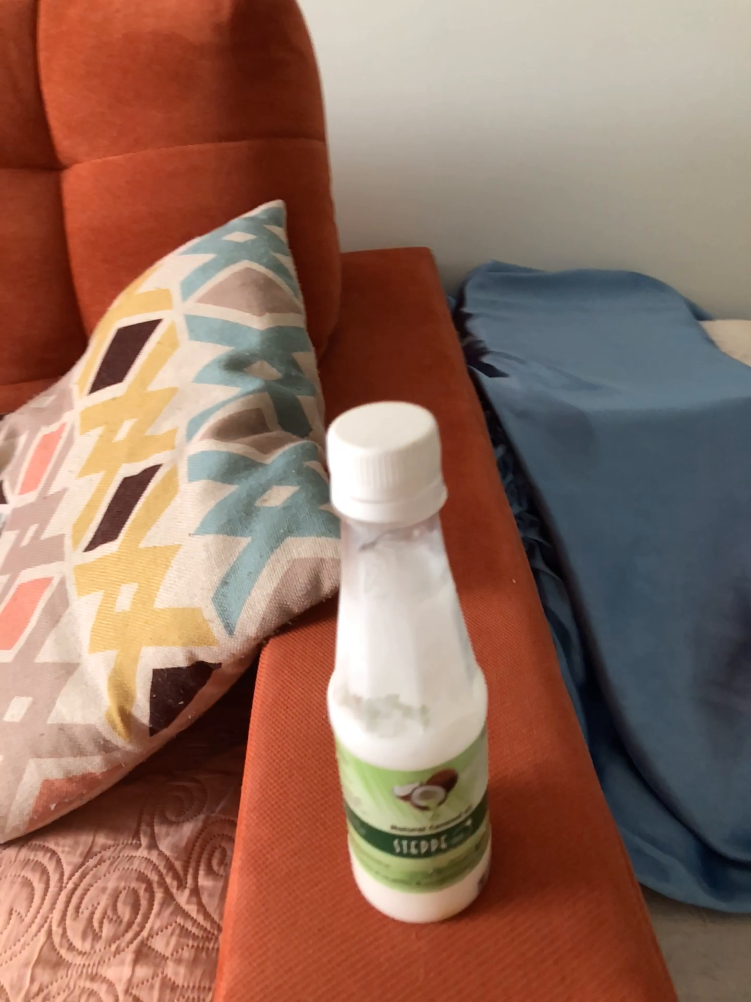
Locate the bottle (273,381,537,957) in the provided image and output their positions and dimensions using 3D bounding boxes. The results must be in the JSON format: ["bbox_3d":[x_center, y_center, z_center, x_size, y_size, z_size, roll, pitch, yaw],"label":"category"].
[{"bbox_3d":[0.009,0.059,0.267,0.060,0.179,0.060,-2,30,1],"label":"bottle"}]
